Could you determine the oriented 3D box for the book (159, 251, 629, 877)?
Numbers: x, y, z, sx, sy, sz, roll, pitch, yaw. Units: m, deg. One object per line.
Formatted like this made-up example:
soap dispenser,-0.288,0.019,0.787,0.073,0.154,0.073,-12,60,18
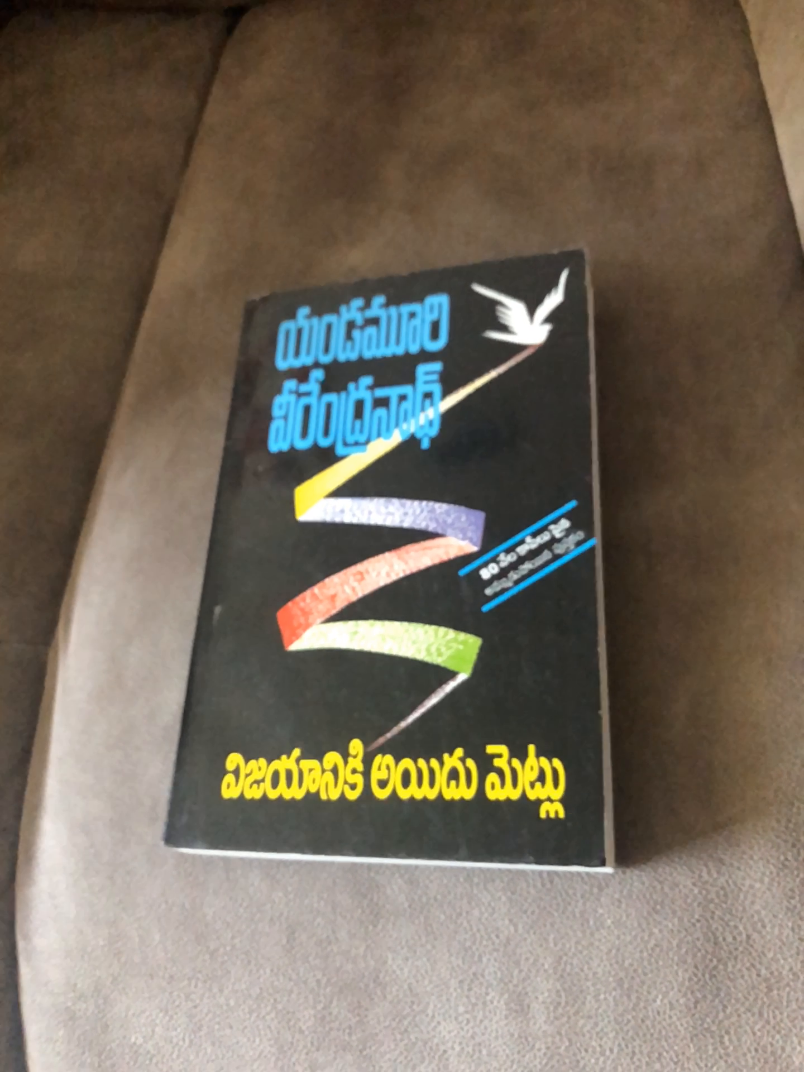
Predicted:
book,0.001,0.003,0.318,0.144,0.026,0.212,-3,67,16
